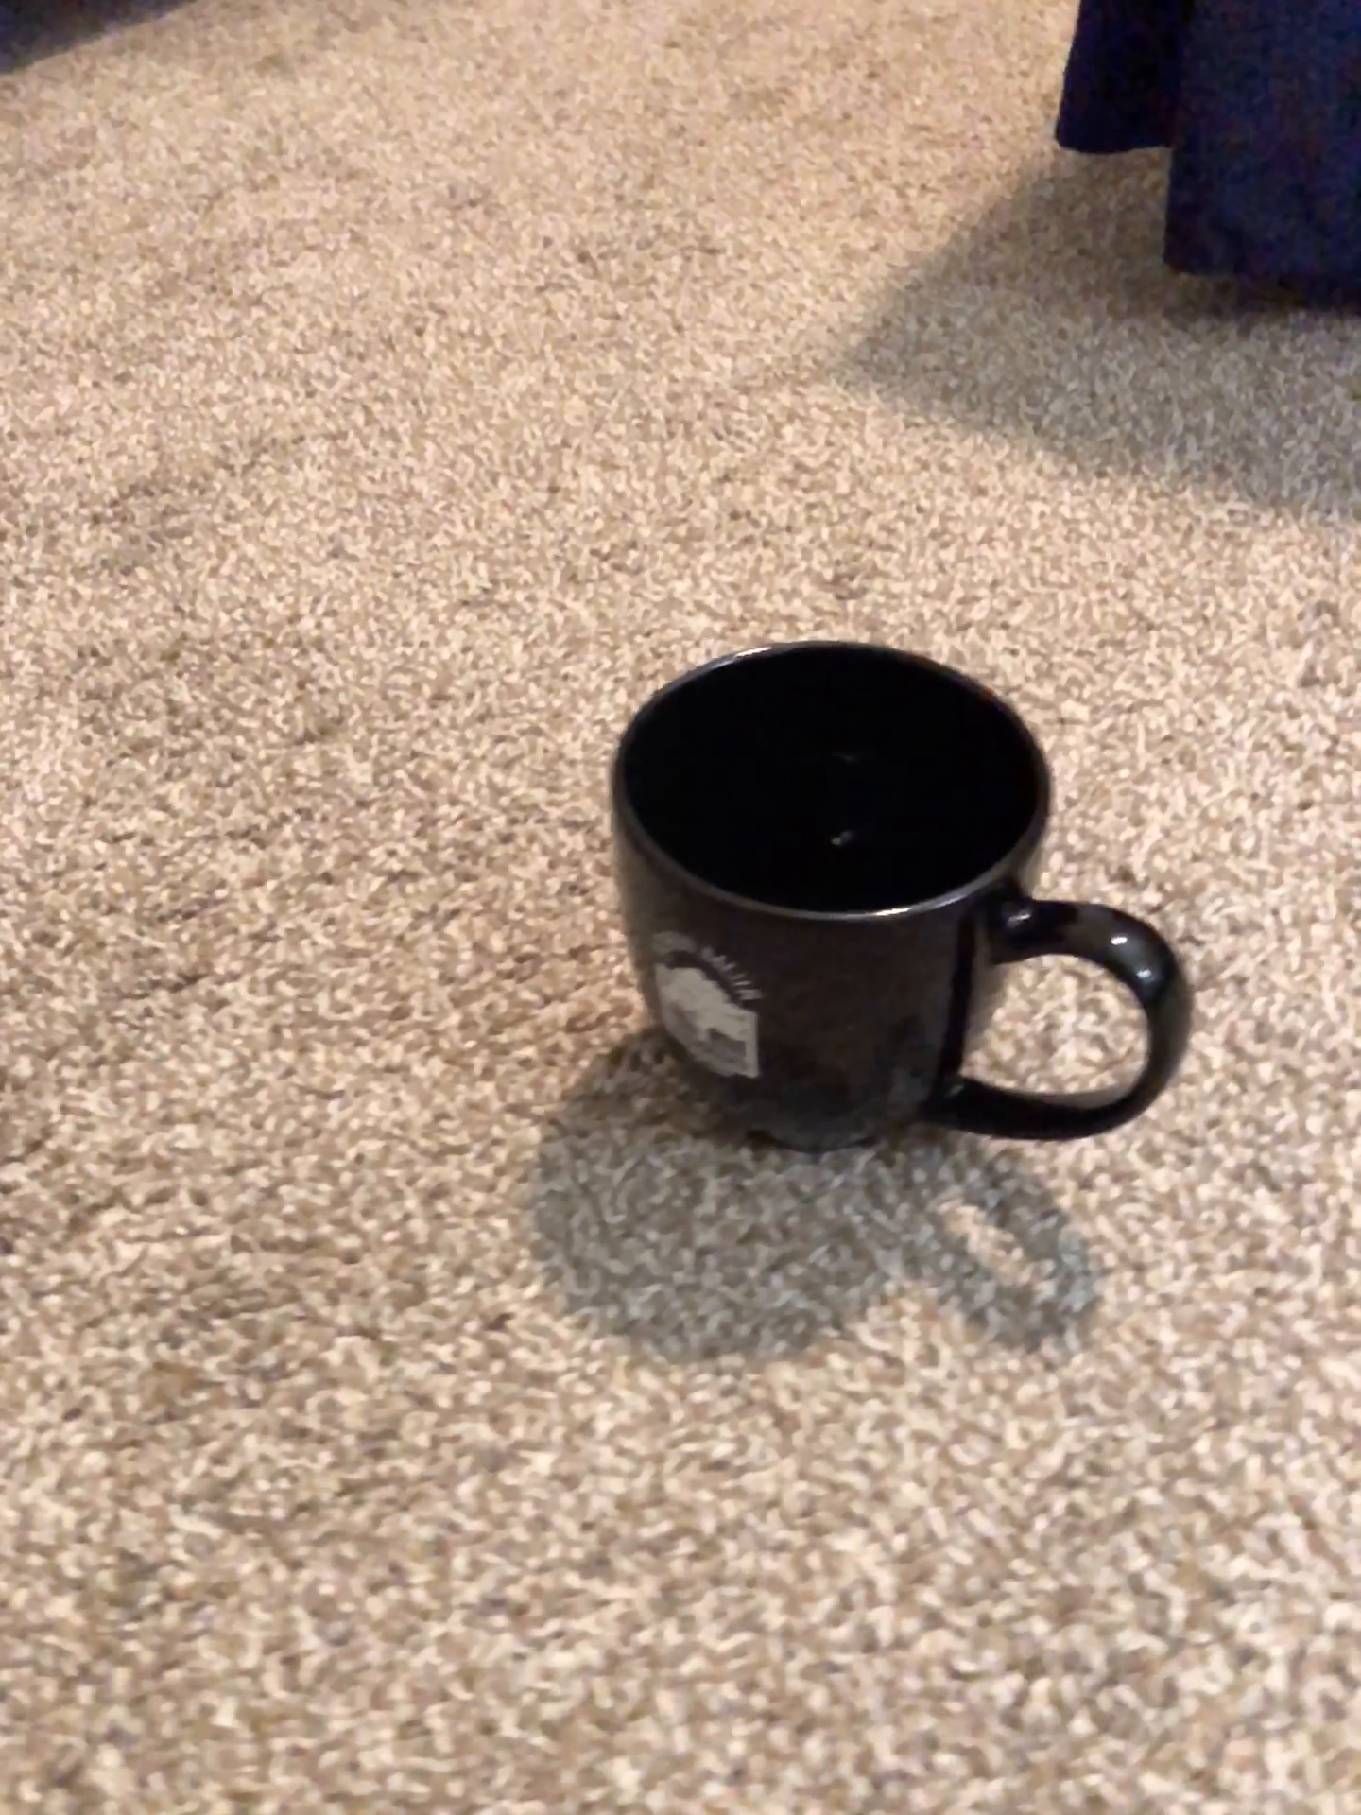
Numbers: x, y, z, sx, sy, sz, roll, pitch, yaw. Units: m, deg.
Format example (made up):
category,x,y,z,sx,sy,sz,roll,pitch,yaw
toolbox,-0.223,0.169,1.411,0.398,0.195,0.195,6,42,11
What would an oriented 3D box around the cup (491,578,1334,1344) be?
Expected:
category,x,y,z,sx,sy,sz,roll,pitch,yaw
cup,0.048,0.005,0.332,0.140,0.090,0.090,21,50,27
